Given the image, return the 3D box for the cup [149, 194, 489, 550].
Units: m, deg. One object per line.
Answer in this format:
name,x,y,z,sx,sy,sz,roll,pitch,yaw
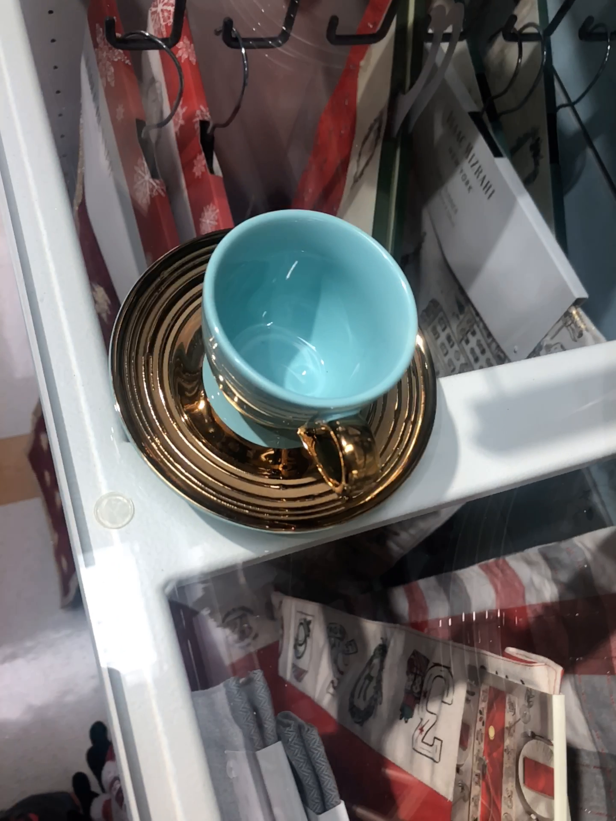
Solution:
cup,-0.002,-0.012,0.213,0.070,0.050,0.084,-16,74,-21
